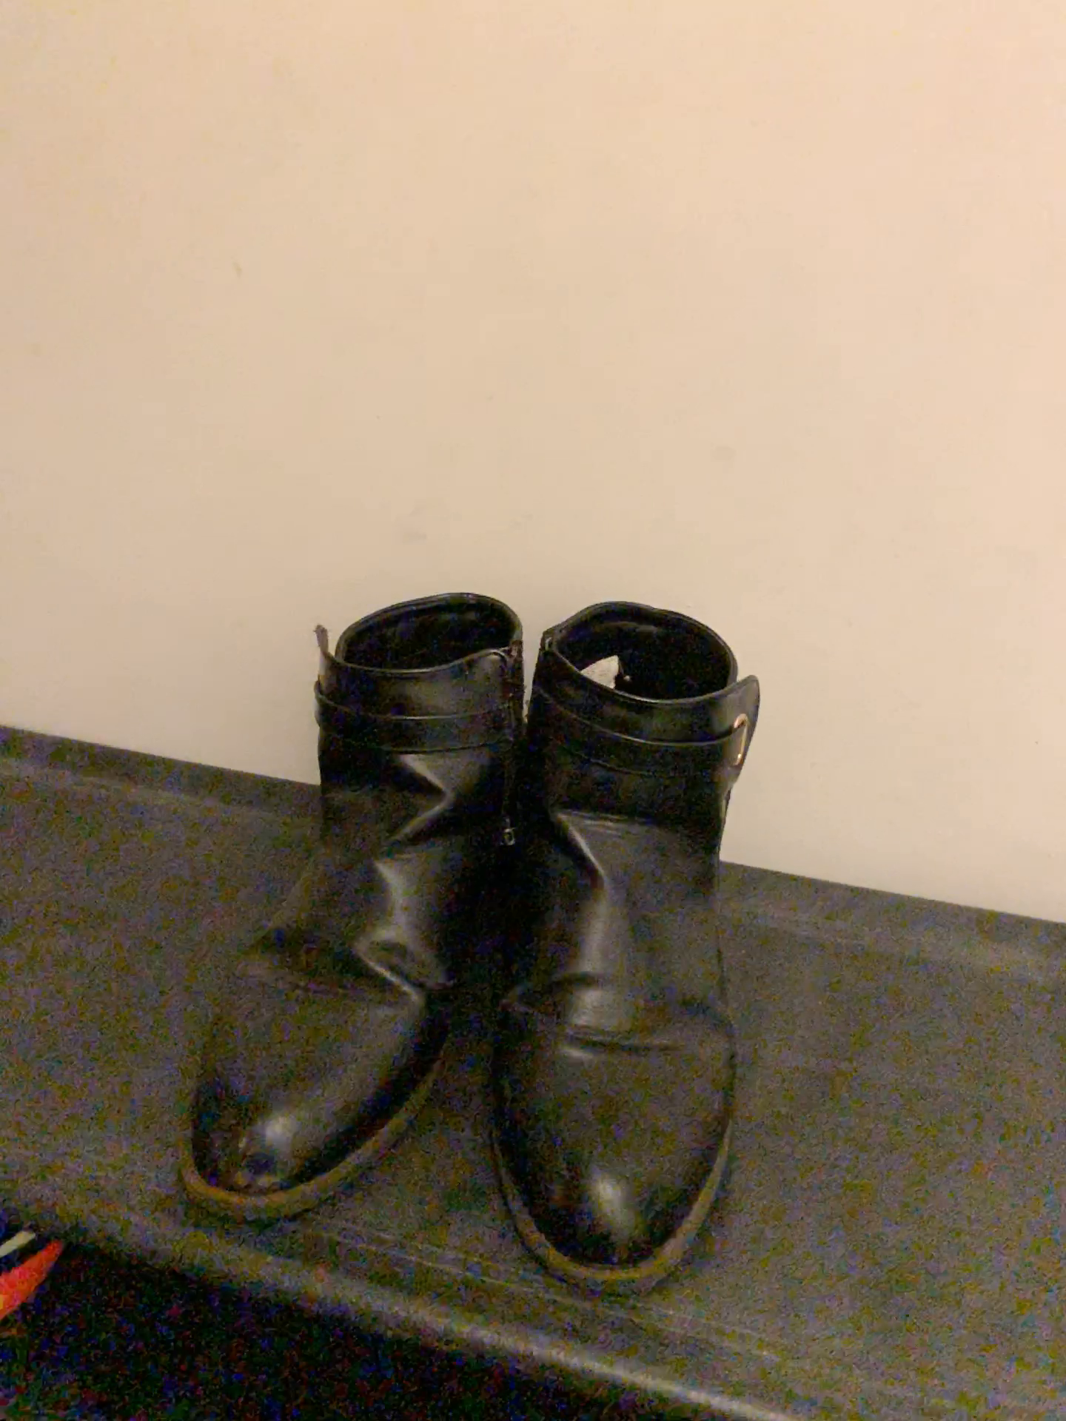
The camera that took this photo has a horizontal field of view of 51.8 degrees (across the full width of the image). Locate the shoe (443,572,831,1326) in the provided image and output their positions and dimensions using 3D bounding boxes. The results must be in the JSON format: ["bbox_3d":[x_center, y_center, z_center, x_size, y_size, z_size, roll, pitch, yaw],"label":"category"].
[{"bbox_3d":[0.042,0.069,0.439,0.100,0.169,0.242,7,26,6],"label":"shoe"}]

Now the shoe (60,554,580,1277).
[{"bbox_3d":[-0.063,0.058,0.436,0.100,0.169,0.222,10,27,13],"label":"shoe"}]
